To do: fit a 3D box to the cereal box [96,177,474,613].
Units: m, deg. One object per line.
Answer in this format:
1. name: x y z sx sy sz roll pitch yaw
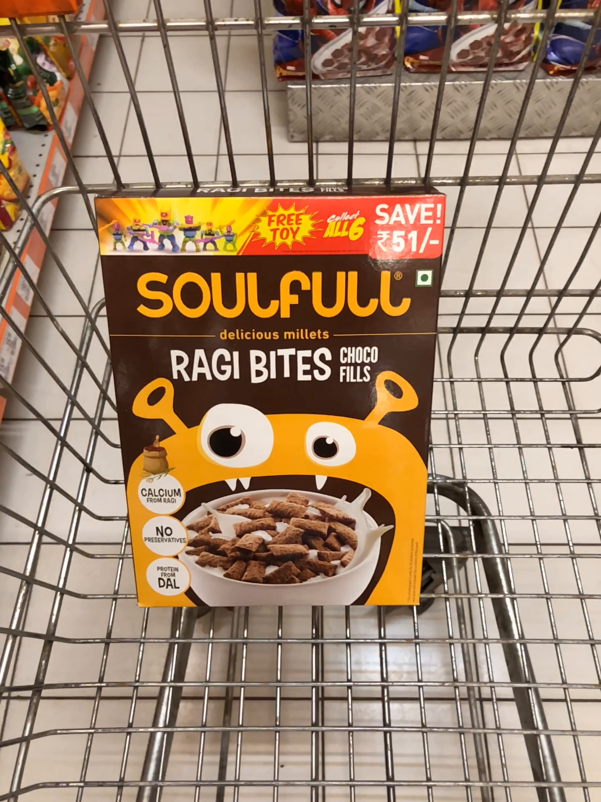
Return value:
1. cereal box: -0.007 0.000 0.411 0.190 0.259 0.070 0 20 1
